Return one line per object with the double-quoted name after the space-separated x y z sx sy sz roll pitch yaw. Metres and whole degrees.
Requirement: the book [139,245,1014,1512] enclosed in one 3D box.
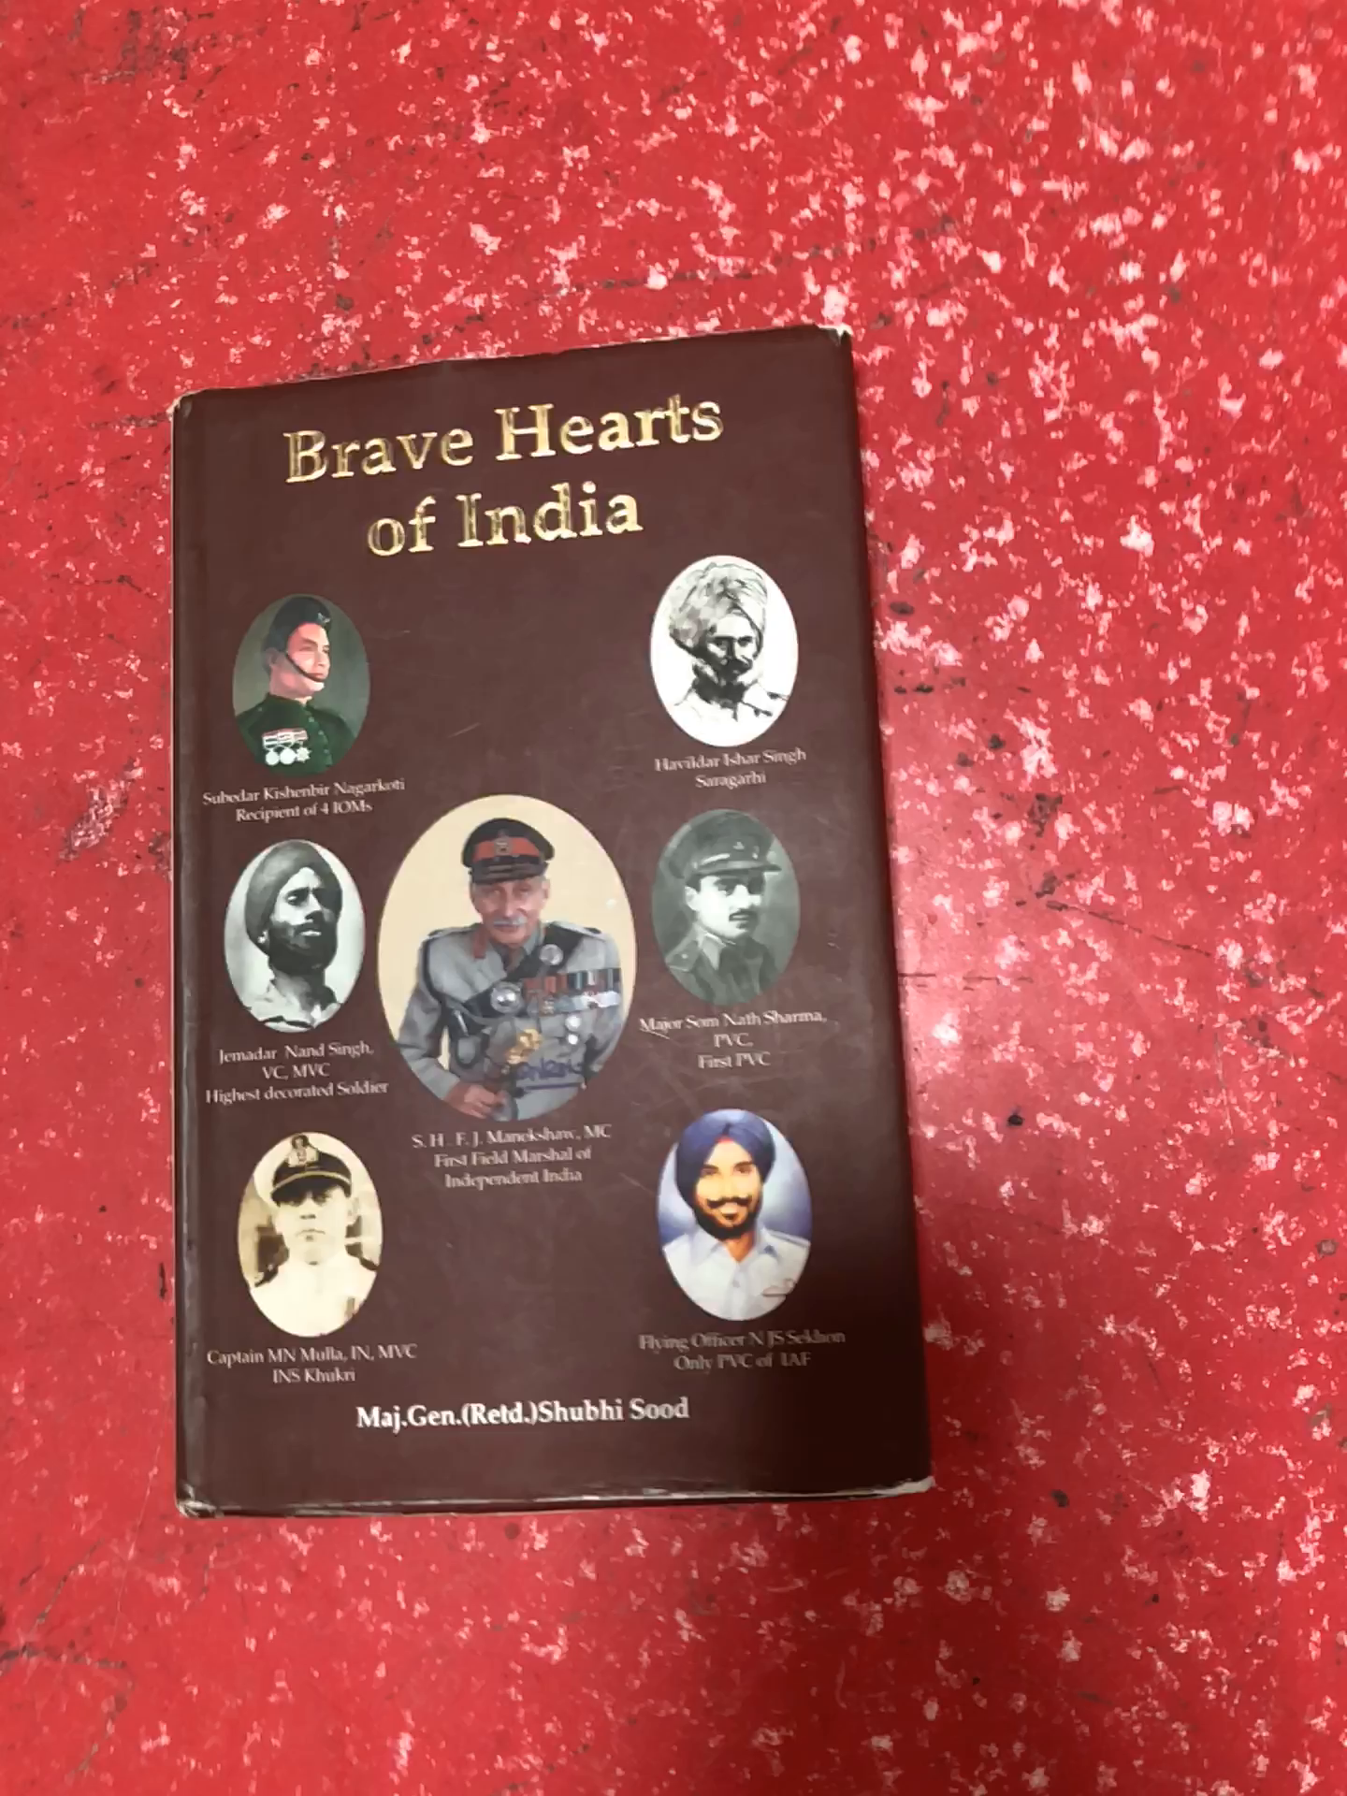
-0.023 -0.004 0.285 0.150 0.030 0.220 -4 81 7 "book"
